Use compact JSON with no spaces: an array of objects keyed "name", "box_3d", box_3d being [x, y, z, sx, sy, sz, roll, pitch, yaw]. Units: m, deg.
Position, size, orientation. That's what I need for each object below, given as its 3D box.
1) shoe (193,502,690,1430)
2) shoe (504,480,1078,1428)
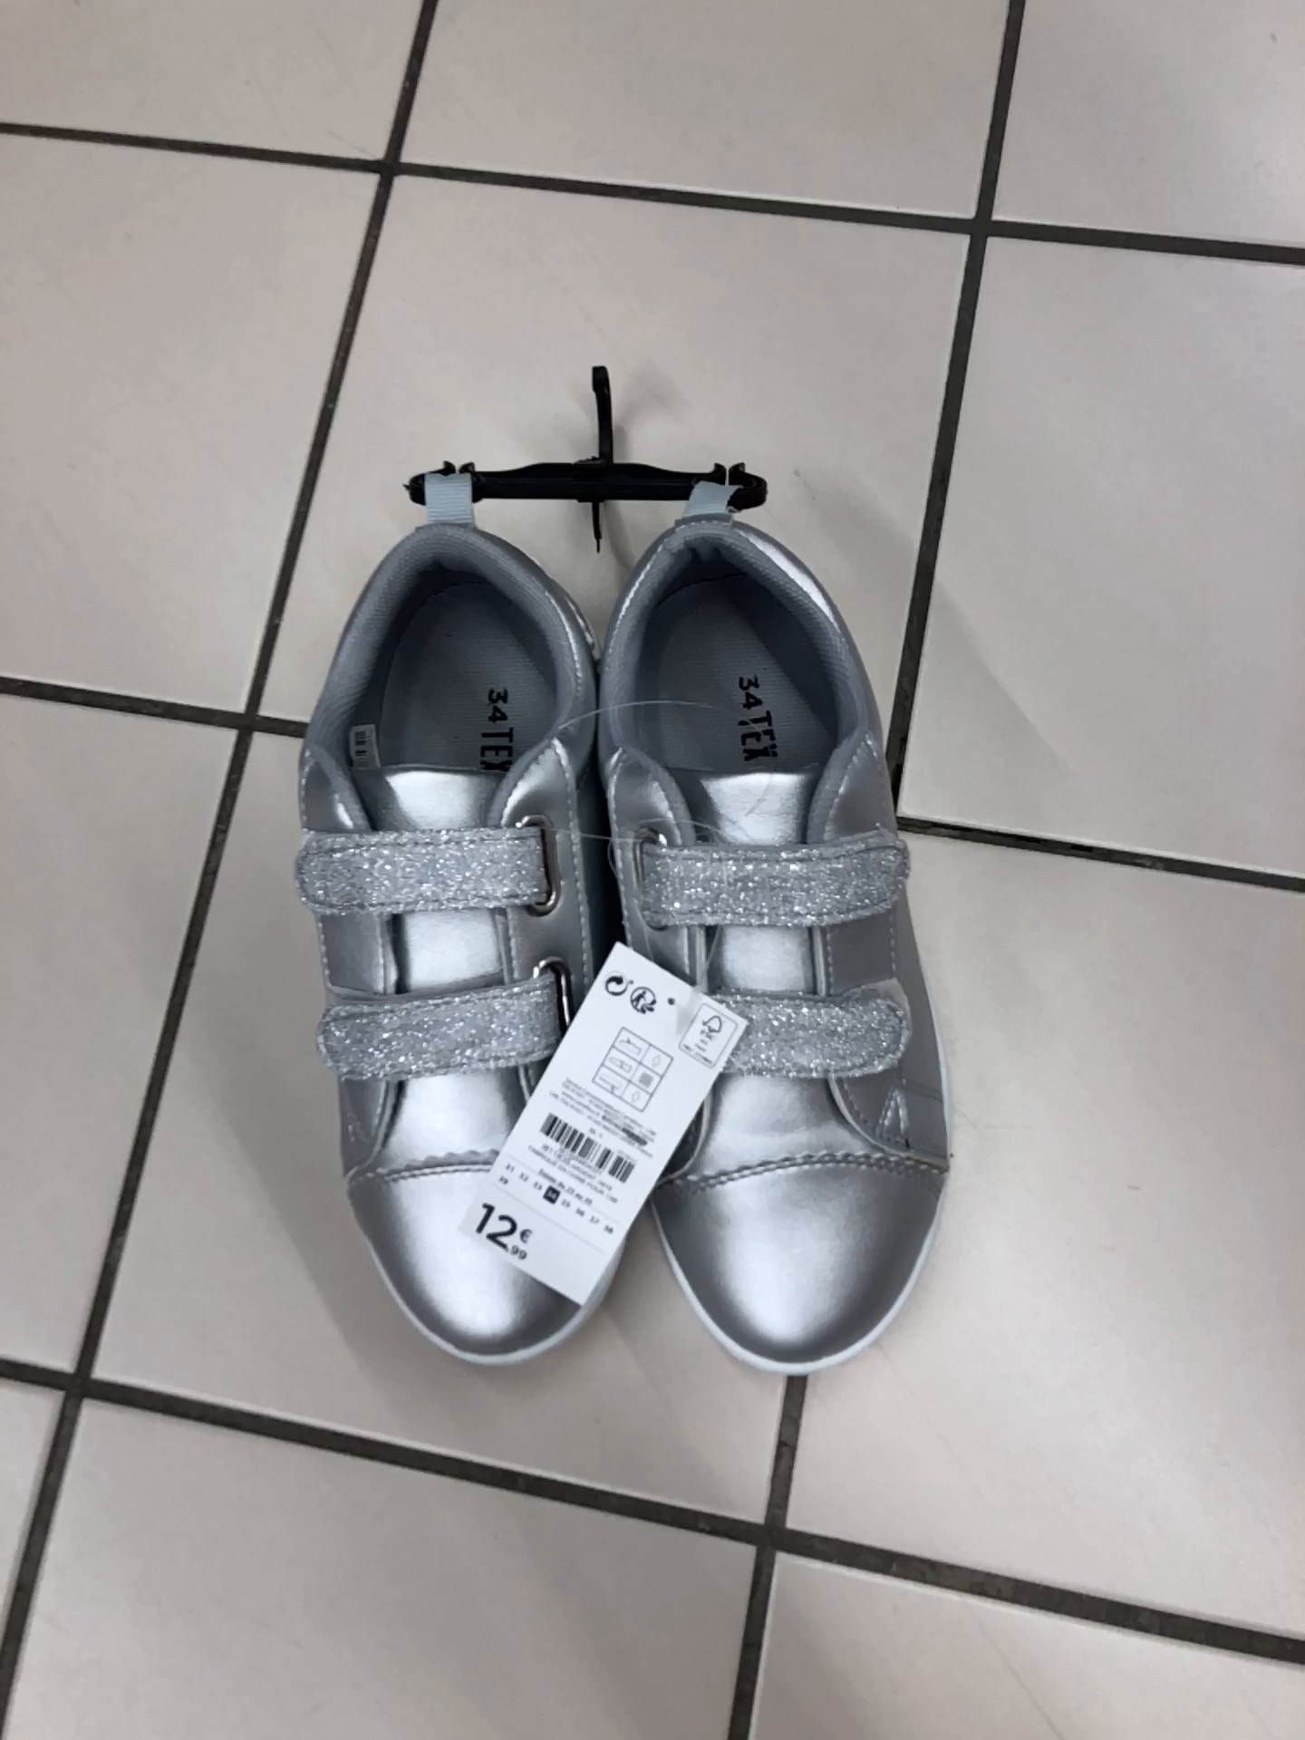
[{"name":"shoe","box_3d":[-0.055,0.025,0.387,0.090,0.086,0.215,-10,77,3]},{"name":"shoe","box_3d":[0.032,0.022,0.383,0.090,0.086,0.215,-13,77,2]}]
